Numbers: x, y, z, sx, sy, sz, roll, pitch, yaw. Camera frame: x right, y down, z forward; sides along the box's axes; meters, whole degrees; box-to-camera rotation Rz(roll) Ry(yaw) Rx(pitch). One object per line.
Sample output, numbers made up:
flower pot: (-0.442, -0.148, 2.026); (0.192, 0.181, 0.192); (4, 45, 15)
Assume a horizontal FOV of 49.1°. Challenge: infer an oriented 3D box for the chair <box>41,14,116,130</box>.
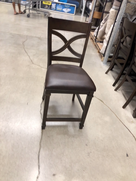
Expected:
chair: (-0.012, -0.167, 1.622); (0.490, 1.027, 0.651); (3, 36, -13)
